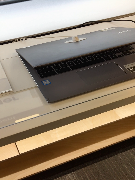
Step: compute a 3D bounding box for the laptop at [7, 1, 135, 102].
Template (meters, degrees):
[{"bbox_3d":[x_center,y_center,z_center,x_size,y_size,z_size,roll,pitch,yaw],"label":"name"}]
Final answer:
[{"bbox_3d":[0.052,-0.114,0.464,0.319,0.100,0.208,-19,55,-13],"label":"laptop"}]
